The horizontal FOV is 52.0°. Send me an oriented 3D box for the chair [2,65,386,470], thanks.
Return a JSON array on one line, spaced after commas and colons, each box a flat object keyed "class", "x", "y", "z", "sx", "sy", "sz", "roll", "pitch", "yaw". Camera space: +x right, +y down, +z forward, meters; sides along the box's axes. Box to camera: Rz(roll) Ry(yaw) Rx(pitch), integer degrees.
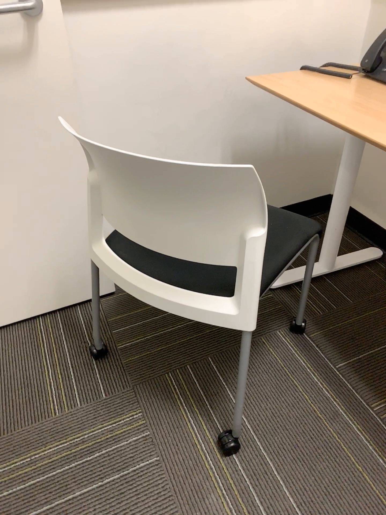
[{"class": "chair", "x": 0.024, "y": -0.026, "z": 1.089, "sx": 0.612, "sy": 0.755, "sz": 0.582, "roll": 25, "pitch": 44, "yaw": 30}]
